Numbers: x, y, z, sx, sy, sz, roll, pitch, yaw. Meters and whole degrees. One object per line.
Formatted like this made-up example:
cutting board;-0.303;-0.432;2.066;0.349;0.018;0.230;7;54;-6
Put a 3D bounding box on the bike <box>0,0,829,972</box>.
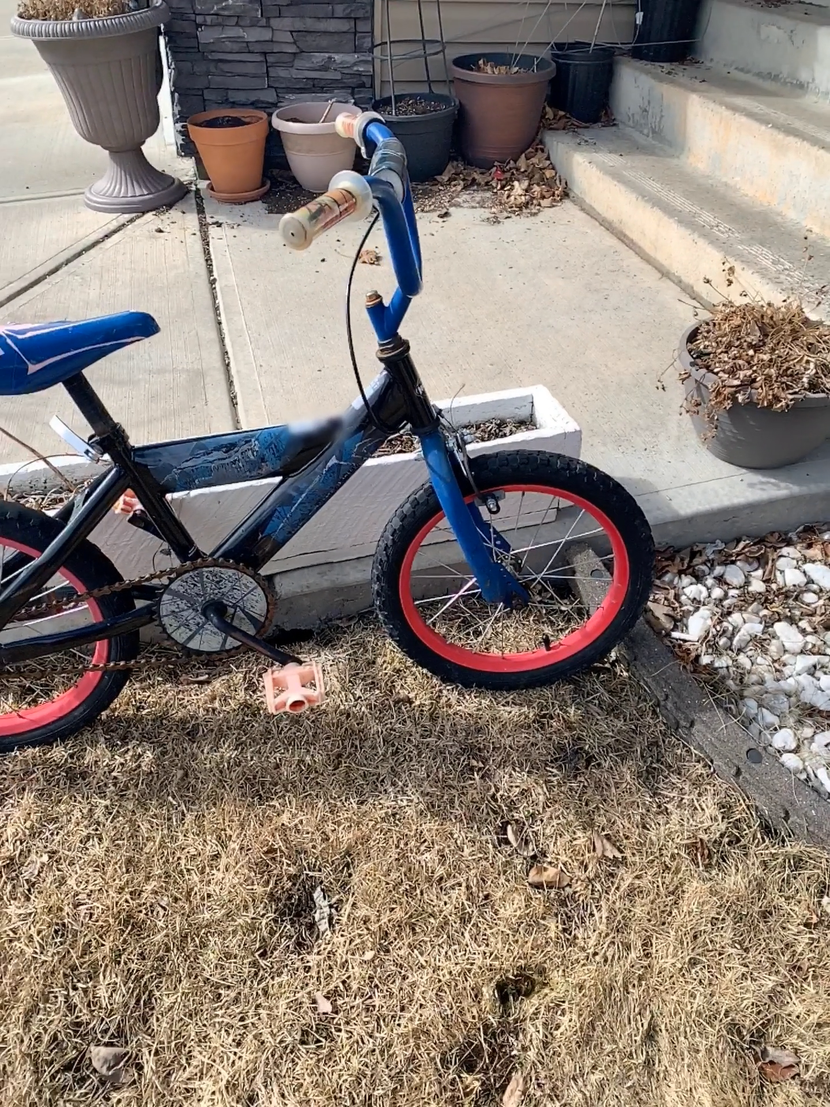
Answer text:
bike;-0.187;-0.076;0.878;1.023;0.728;0.538;-7;39;-3
